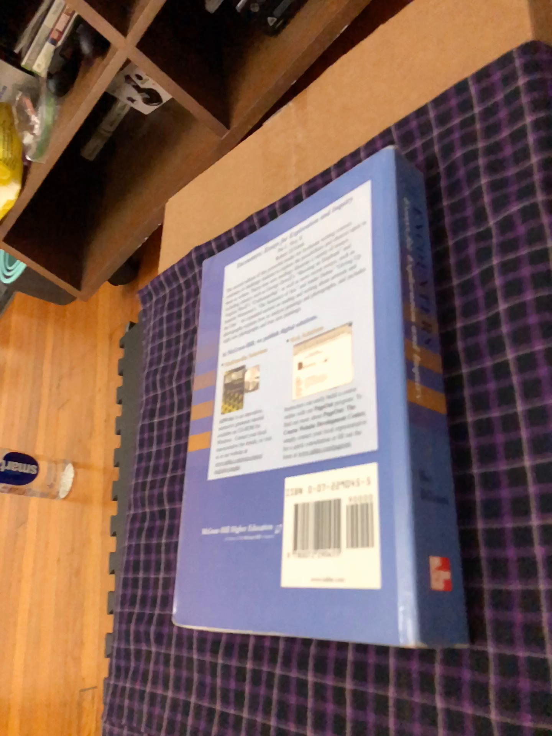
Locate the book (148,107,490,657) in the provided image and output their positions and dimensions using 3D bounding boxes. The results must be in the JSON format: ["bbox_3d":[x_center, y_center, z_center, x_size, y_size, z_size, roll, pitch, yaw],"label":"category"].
[{"bbox_3d":[0.008,0.014,0.322,0.181,0.040,0.240,-22,58,44],"label":"book"}]
